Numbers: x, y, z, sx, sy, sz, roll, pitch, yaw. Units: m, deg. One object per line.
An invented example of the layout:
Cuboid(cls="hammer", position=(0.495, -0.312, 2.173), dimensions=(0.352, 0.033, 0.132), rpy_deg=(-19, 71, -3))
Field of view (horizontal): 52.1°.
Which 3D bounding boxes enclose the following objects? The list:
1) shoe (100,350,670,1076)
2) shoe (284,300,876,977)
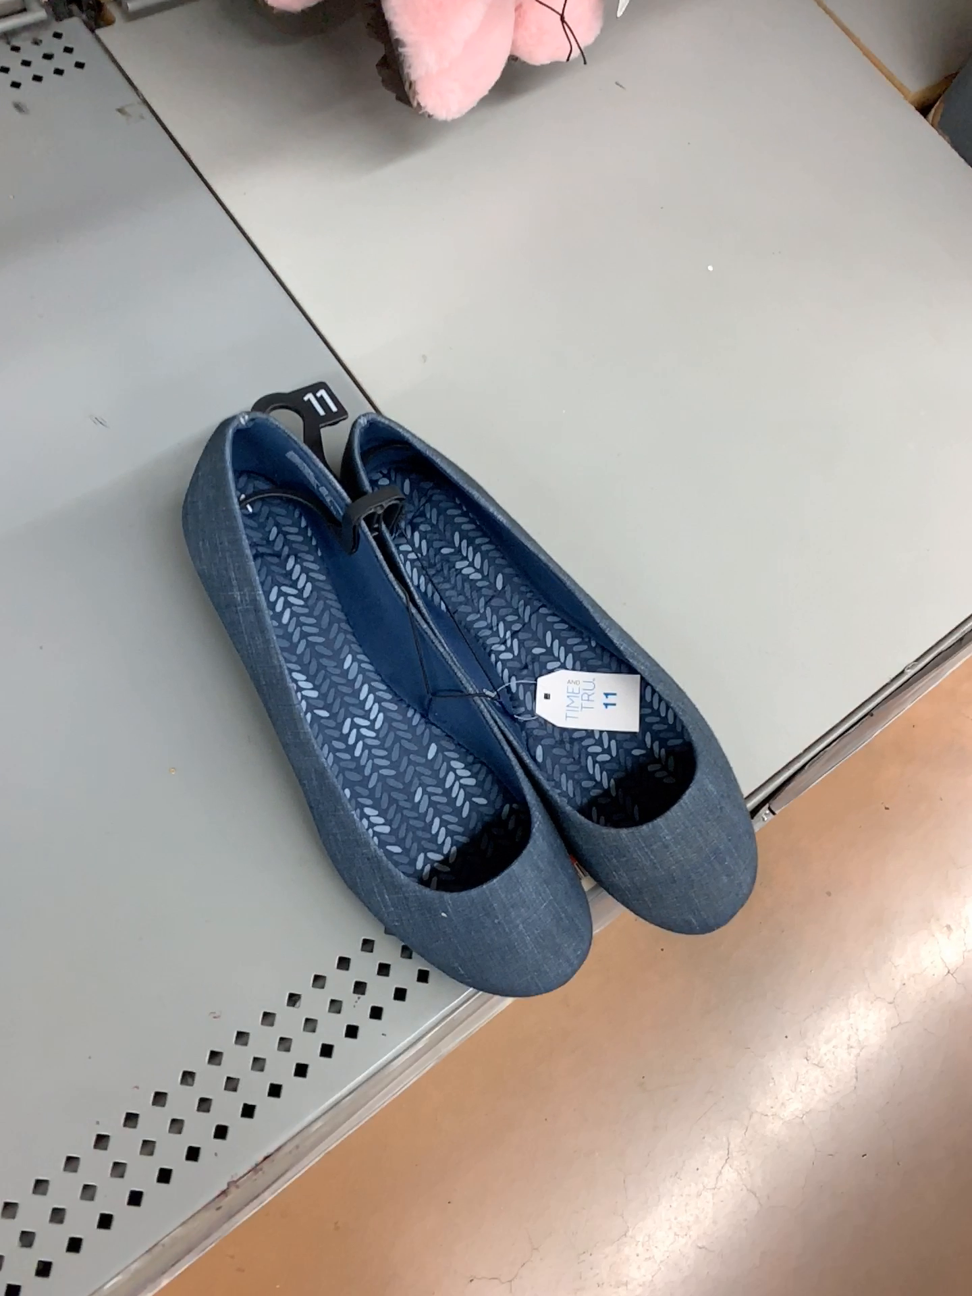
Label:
Cuboid(cls="shoe", position=(-0.049, 0.025, 0.426), dimensions=(0.090, 0.090, 0.280), rpy_deg=(-29, 79, -16))
Cuboid(cls="shoe", position=(0.030, -0.003, 0.442), dimensions=(0.090, 0.090, 0.280), rpy_deg=(-34, 81, -14))
